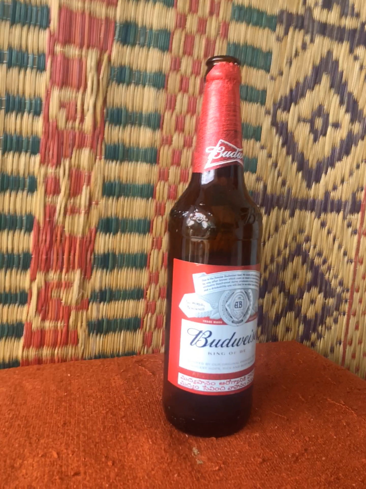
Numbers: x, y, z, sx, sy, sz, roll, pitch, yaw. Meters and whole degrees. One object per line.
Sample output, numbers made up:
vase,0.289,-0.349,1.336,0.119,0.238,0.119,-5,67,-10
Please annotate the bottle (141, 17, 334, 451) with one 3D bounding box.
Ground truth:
bottle,0.031,-0.002,0.290,0.090,0.259,0.070,1,9,-23
